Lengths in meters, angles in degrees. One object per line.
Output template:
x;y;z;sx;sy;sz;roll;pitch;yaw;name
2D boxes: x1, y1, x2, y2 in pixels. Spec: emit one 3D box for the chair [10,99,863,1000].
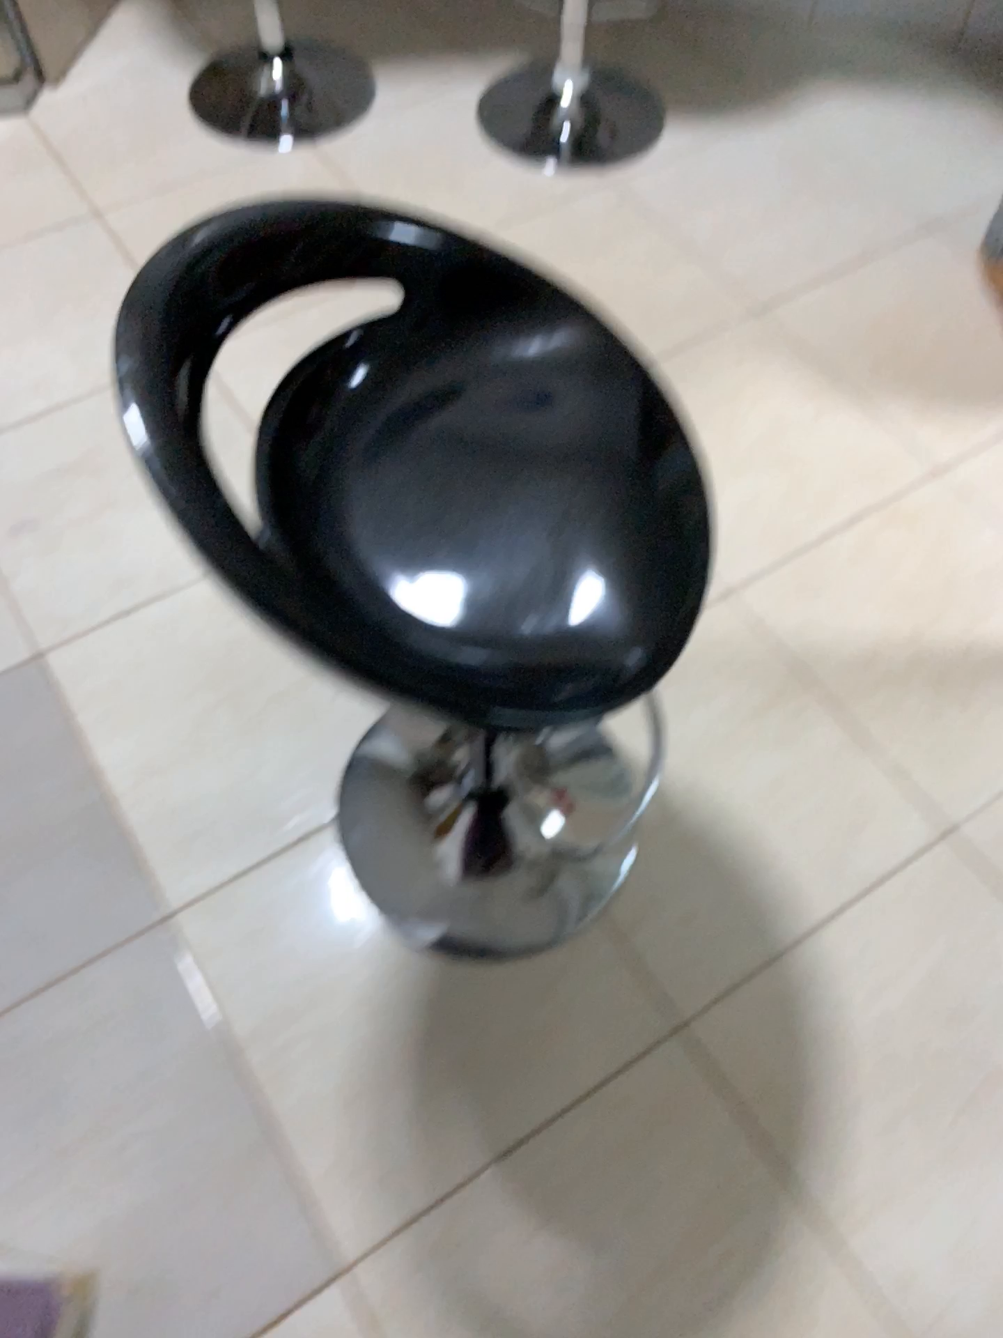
-0.030;-0.017;1.005;0.443;0.815;0.454;2;59;1;chair
